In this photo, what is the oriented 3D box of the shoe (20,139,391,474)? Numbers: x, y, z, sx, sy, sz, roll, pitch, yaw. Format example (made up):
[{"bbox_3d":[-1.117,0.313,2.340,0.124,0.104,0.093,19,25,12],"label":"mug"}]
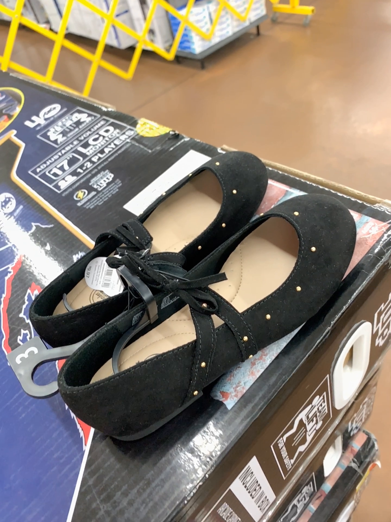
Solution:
[{"bbox_3d":[0.020,0.017,0.279,0.240,0.070,0.090,-34,48,-15],"label":"shoe"}]

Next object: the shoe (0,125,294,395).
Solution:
[{"bbox_3d":[-0.031,-0.016,0.356,0.250,0.070,0.090,-40,50,-20],"label":"shoe"}]
